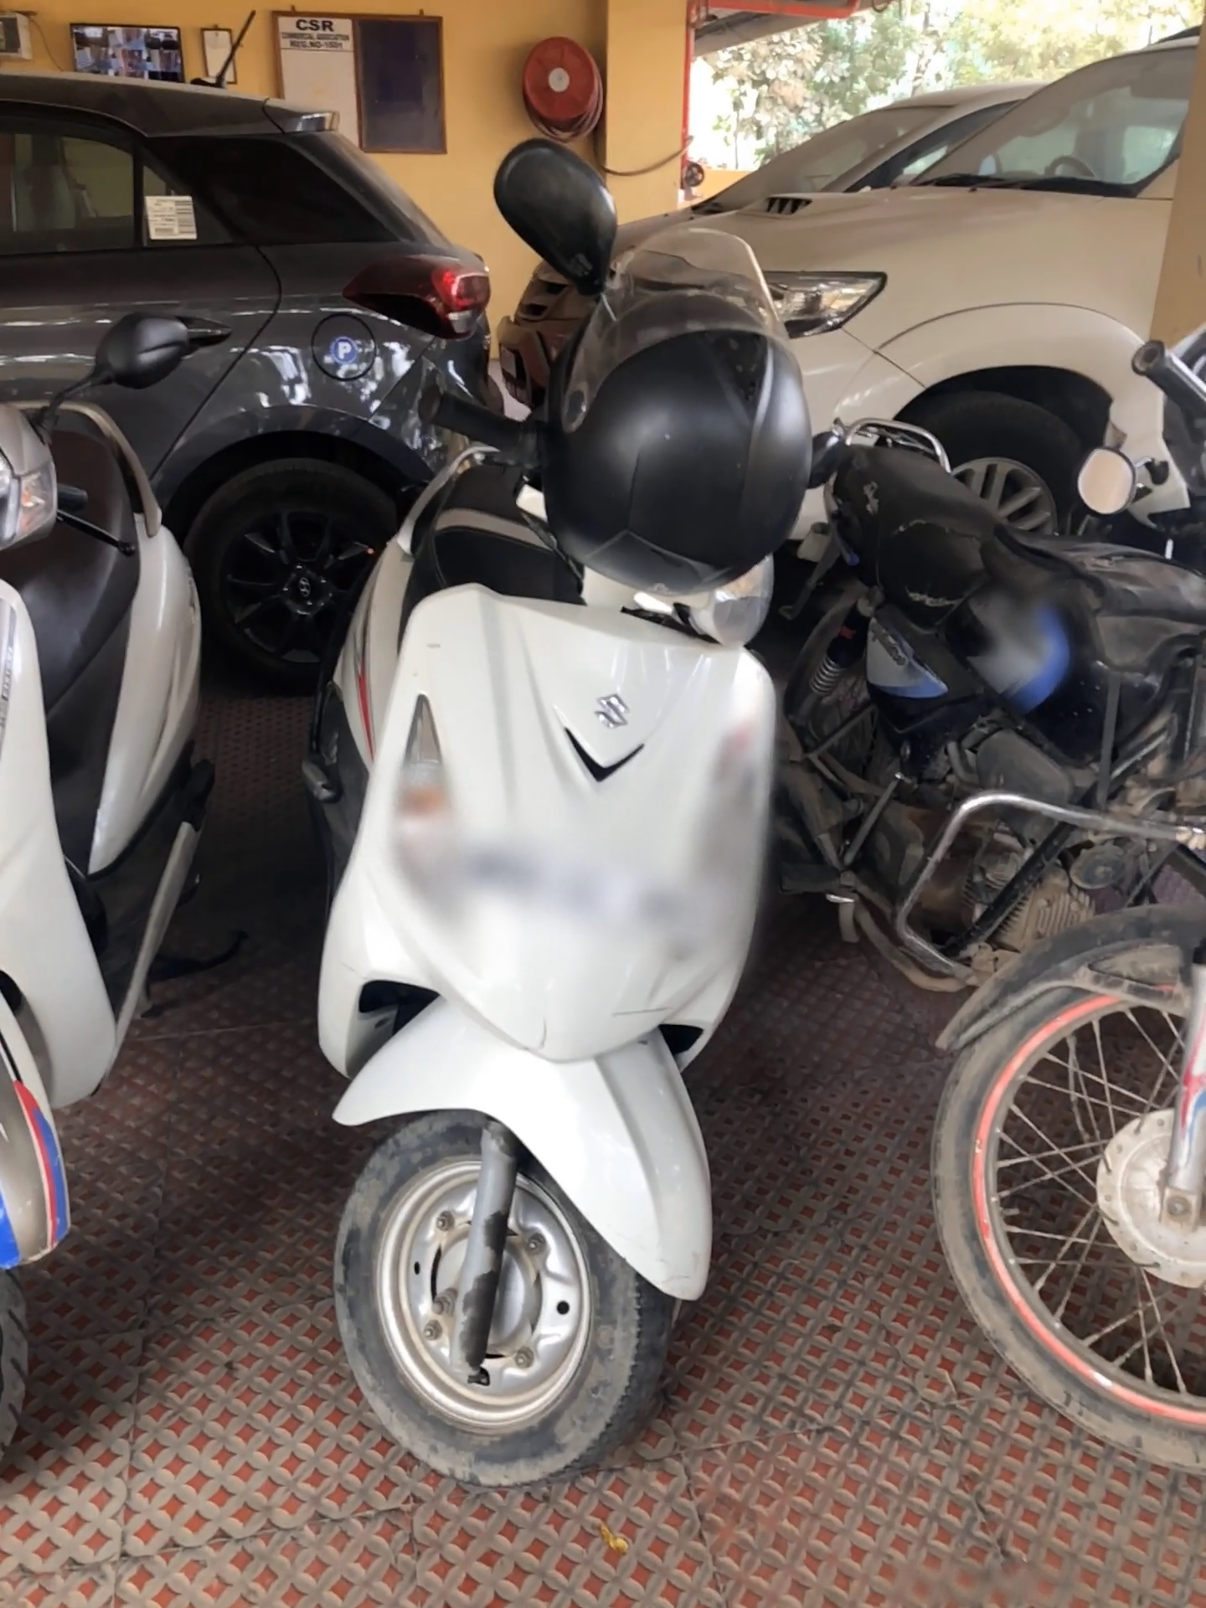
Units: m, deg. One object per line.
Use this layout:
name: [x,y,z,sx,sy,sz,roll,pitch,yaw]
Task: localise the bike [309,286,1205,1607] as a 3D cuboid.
bike: [0.123,0.007,1.891,0.832,0.940,1.516,-7,35,-15]
